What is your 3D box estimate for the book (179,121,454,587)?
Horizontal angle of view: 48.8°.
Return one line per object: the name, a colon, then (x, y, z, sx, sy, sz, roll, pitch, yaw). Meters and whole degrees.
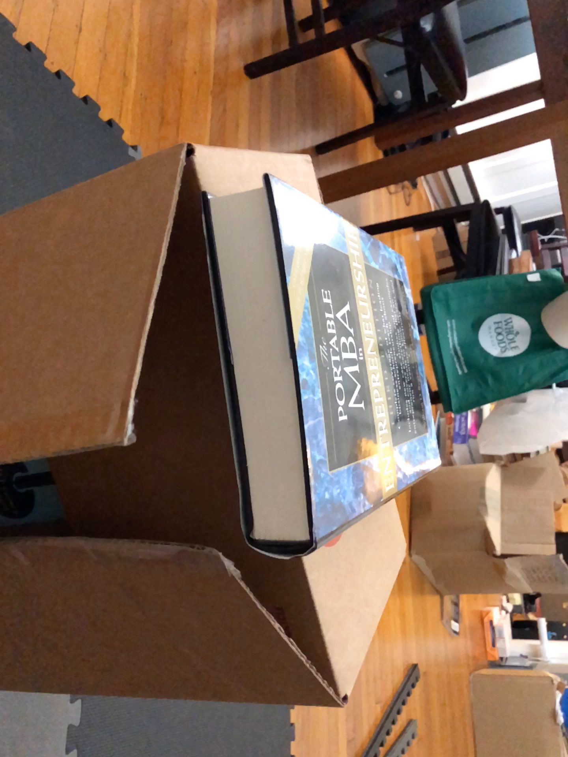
book: (0.045, -0.012, 0.417, 0.271, 0.060, 0.210, -3, 84, -66)
